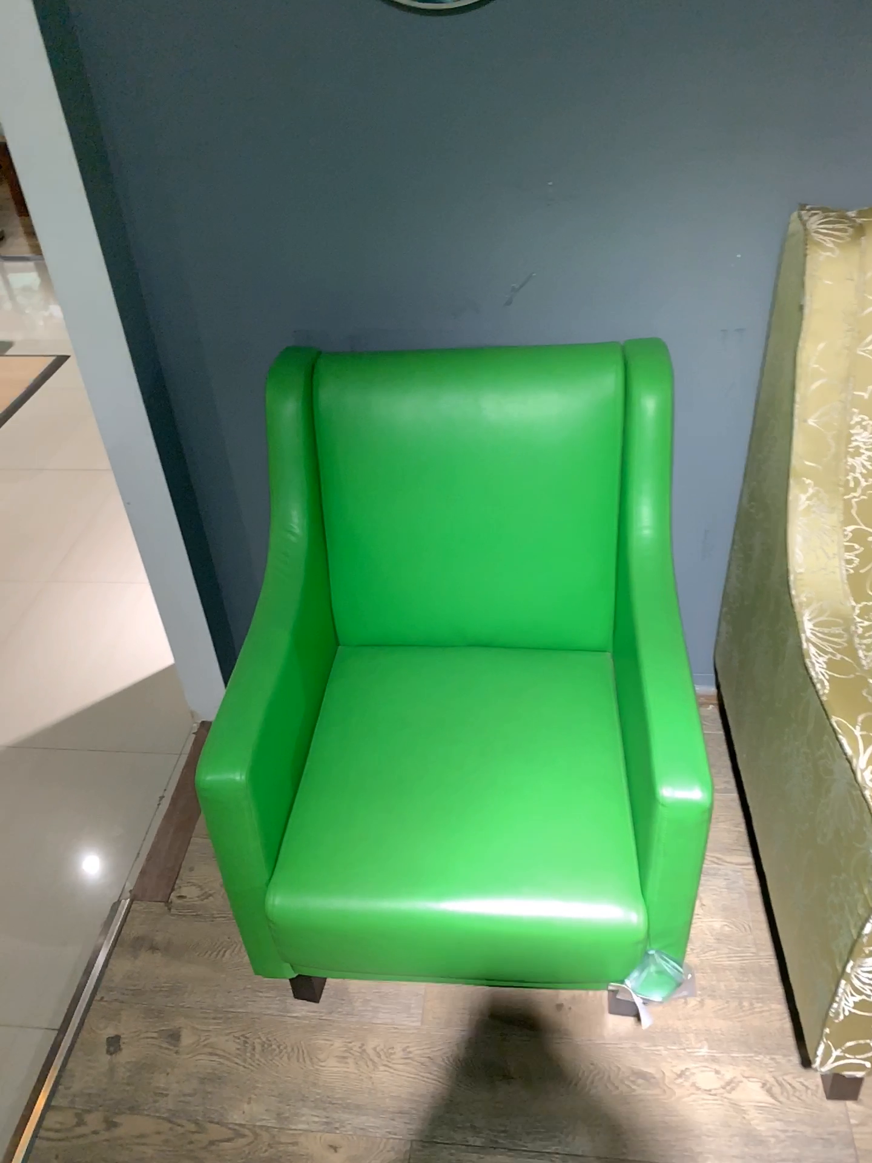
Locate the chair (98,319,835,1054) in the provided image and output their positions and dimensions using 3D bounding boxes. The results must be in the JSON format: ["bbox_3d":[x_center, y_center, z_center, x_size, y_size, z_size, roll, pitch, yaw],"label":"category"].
[{"bbox_3d":[0.070,0.126,1.411,0.710,0.786,0.814,1,38,6],"label":"chair"}]
